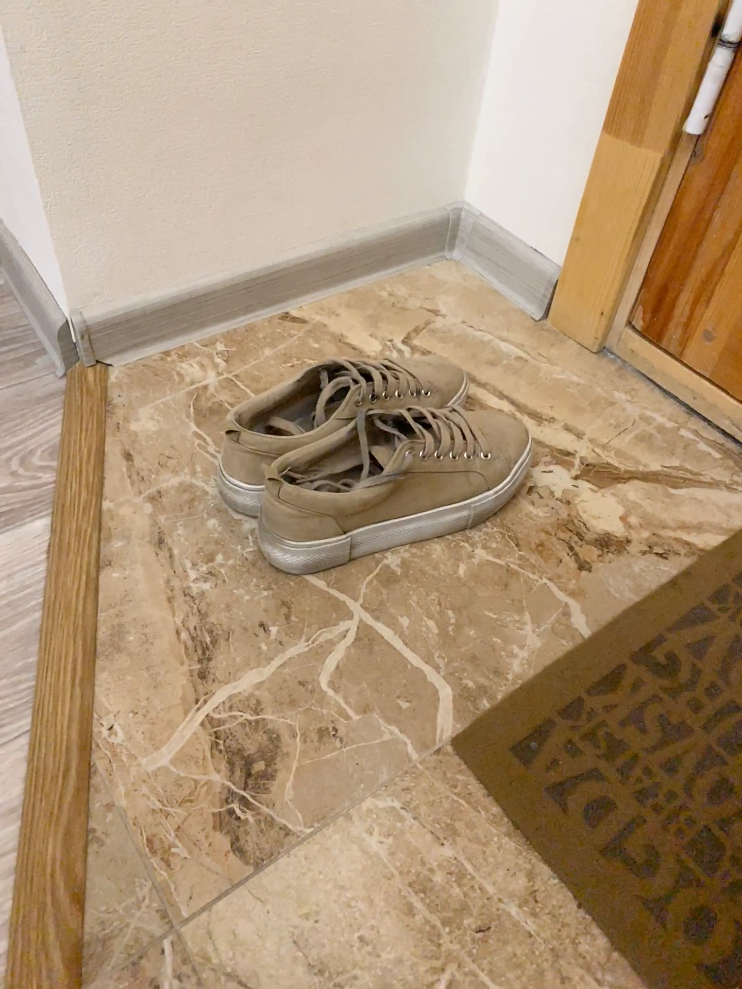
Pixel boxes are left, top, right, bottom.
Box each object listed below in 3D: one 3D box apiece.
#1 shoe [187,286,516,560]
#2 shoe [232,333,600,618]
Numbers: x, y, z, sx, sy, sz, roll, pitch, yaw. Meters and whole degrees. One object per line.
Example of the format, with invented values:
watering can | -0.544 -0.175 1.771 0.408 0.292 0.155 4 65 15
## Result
shoe | -0.011 -0.064 0.598 0.241 0.099 0.090 -29 56 -29
shoe | 0.032 -0.021 0.550 0.240 0.099 0.090 -22 53 -24
